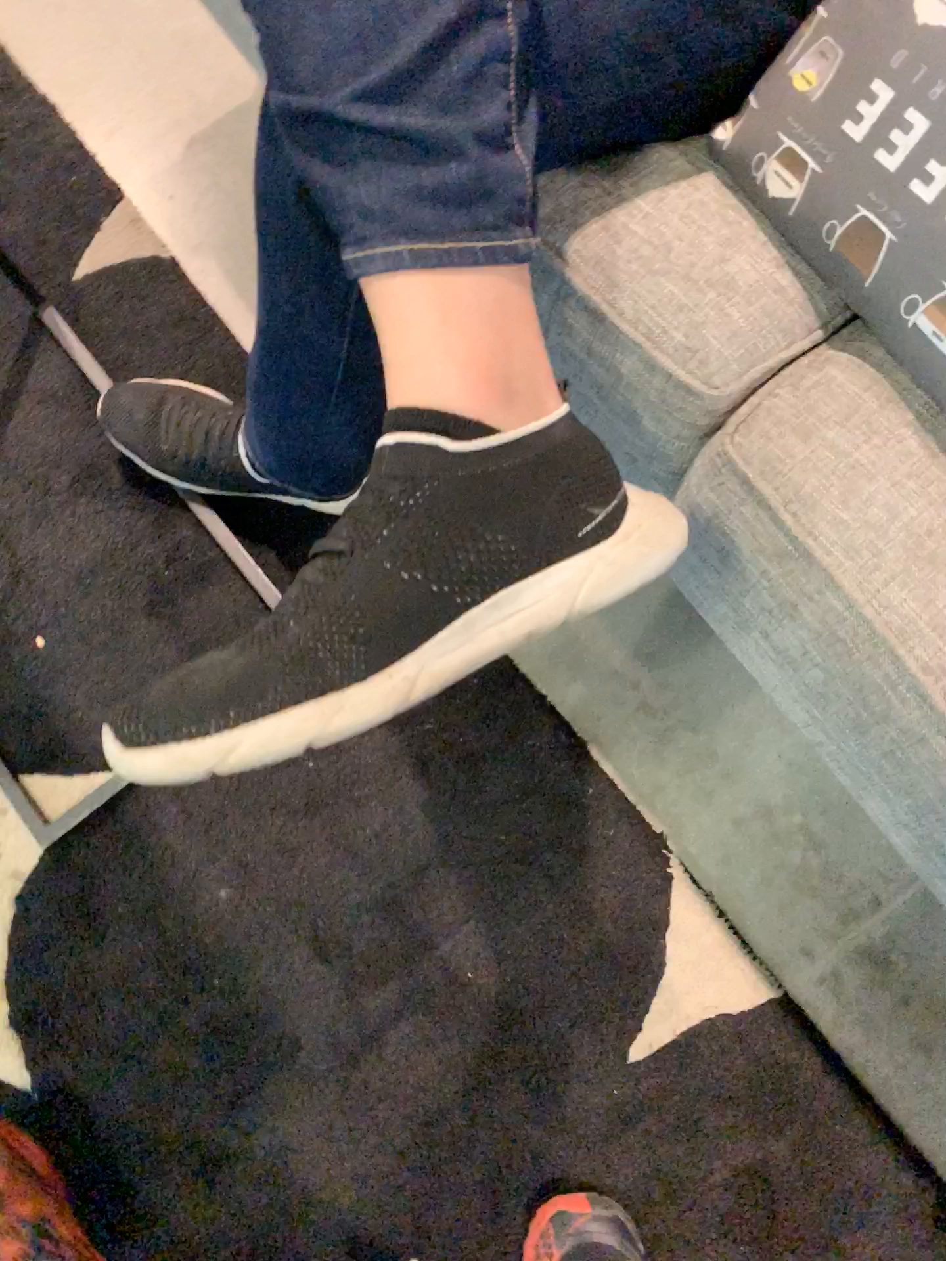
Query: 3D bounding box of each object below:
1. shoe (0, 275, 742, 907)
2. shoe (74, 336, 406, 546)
[{"bbox_3d":[-0.041,-0.021,0.439,0.276,0.112,0.132,-33,93,-18],"label":"shoe"},{"bbox_3d":[-0.235,-0.195,0.995,0.303,0.074,0.116,17,78,7],"label":"shoe"}]
